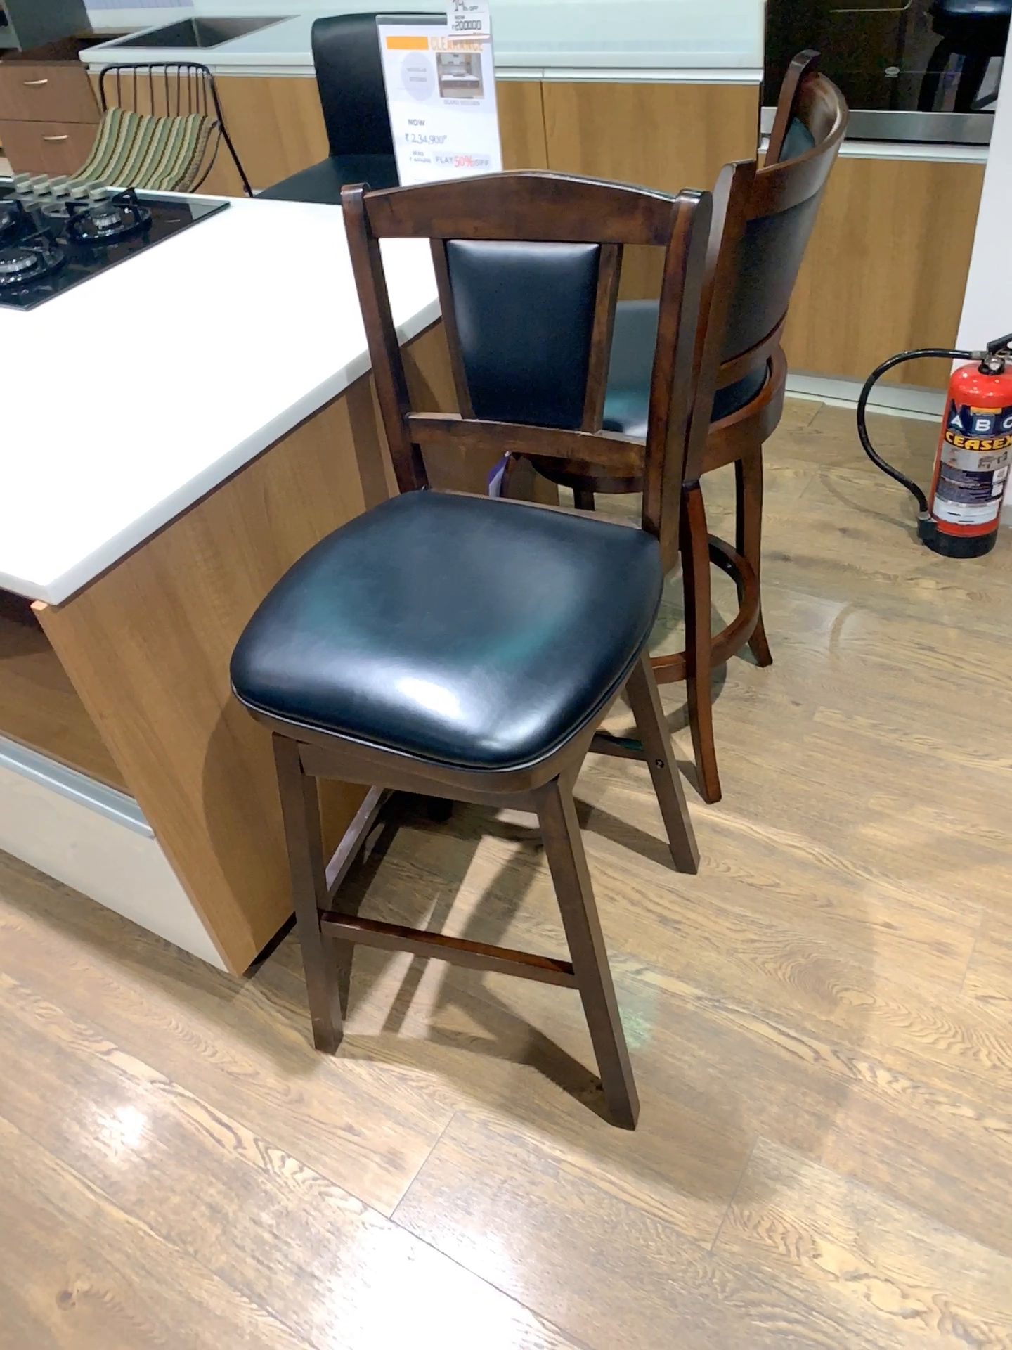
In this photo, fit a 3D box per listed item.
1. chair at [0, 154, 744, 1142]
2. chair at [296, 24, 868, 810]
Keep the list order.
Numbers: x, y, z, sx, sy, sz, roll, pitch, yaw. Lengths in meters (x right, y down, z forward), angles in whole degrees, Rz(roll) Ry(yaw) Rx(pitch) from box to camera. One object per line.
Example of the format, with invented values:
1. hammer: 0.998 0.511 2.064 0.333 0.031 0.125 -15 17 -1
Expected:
1. chair: -0.058 0.000 1.285 0.581 1.026 0.572 7 44 18
2. chair: 0.173 -0.393 1.678 0.571 1.026 0.551 14 46 24
